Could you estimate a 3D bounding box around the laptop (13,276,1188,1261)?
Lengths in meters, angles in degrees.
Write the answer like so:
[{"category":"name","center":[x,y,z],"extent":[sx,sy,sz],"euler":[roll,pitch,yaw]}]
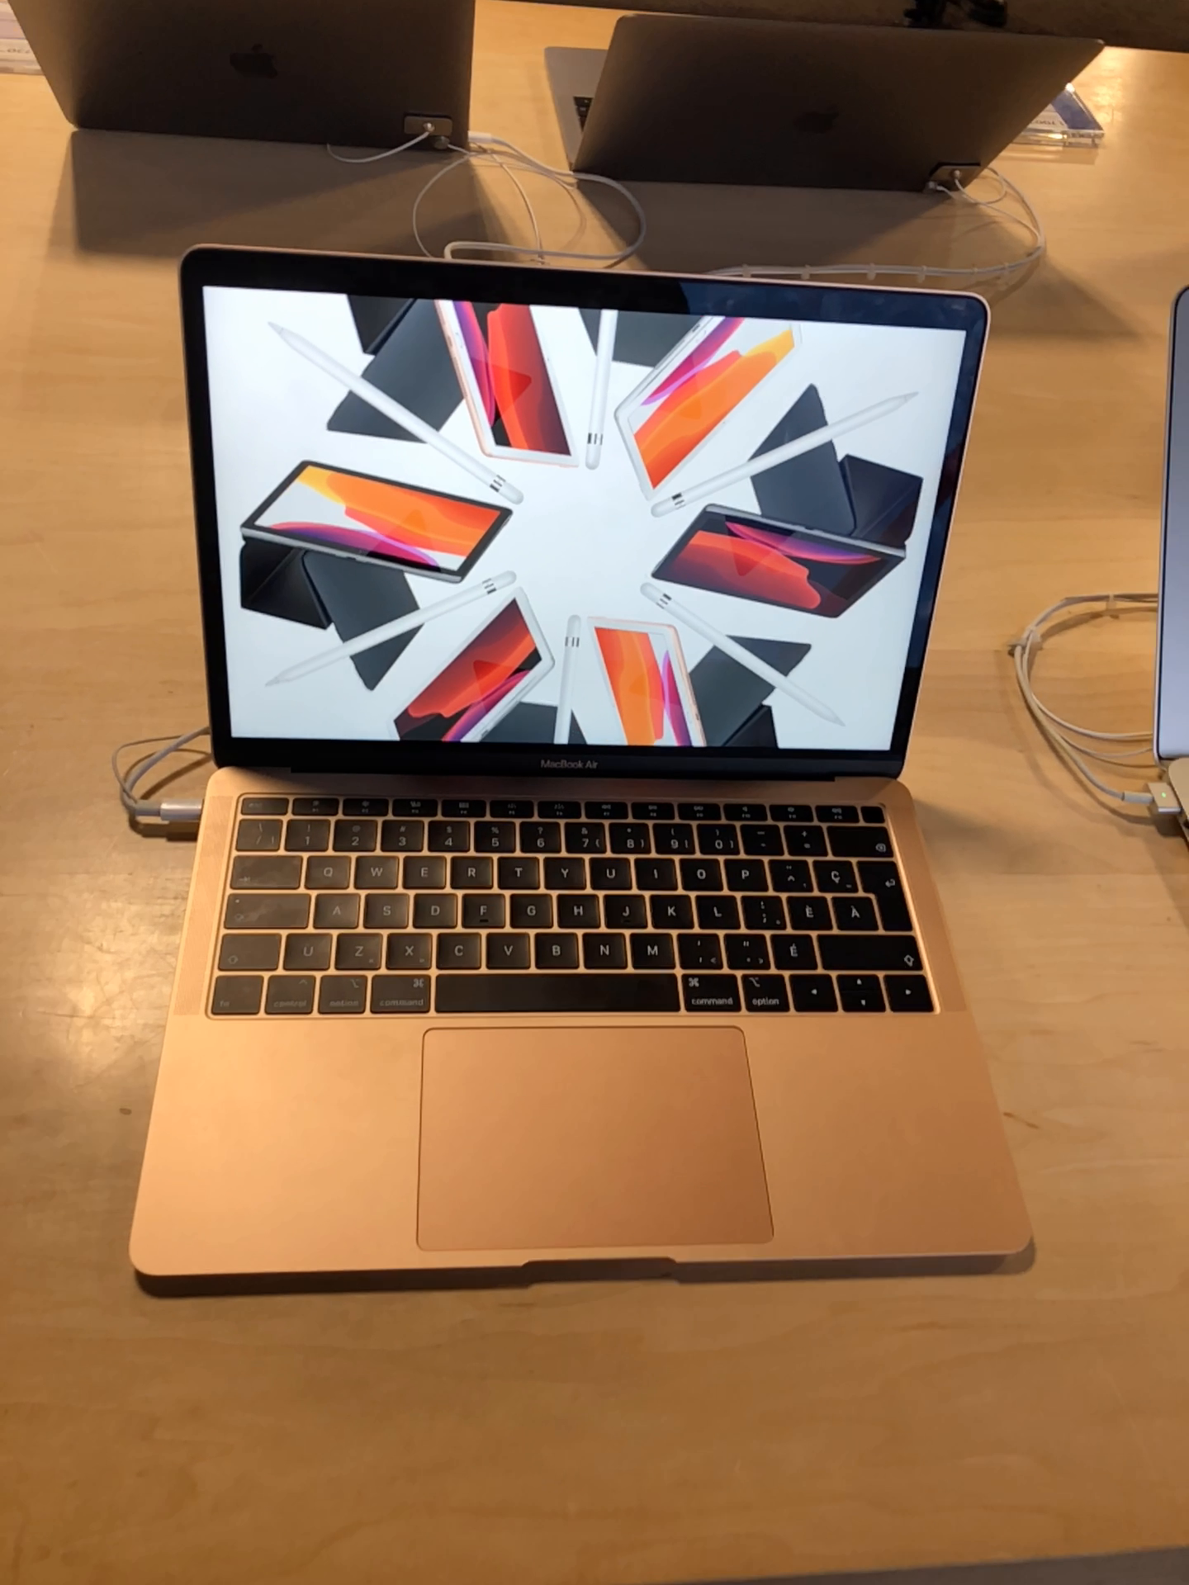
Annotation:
[{"category":"laptop","center":[0.007,-0.015,0.453],"extent":[0.291,0.183,0.284],"euler":[1,48,-5]}]
